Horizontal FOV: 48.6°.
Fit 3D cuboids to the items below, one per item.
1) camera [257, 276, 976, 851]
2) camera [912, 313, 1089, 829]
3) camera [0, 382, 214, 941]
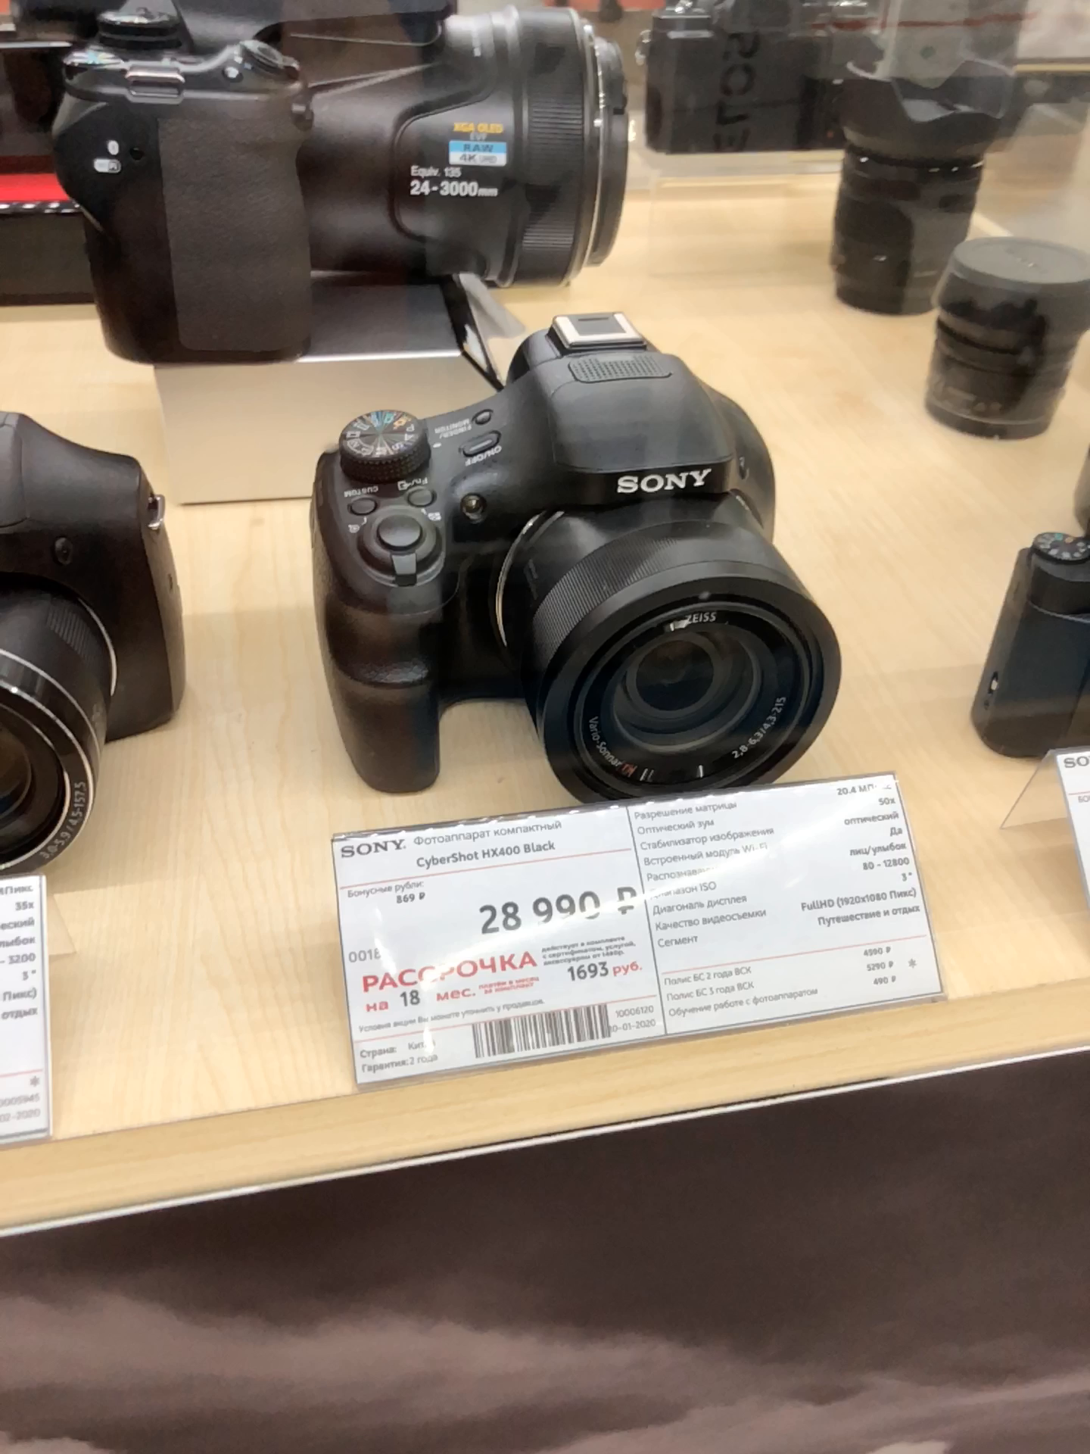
[{"bbox_3d":[0.007,-0.046,0.294,0.137,0.086,0.104,-7,39,-10],"label":"camera"},{"bbox_3d":[0.180,-0.041,0.323,0.125,0.113,0.056,-7,39,-11],"label":"camera"},{"bbox_3d":[-0.143,-0.021,0.275,0.122,0.073,0.097,-7,39,-10],"label":"camera"}]
